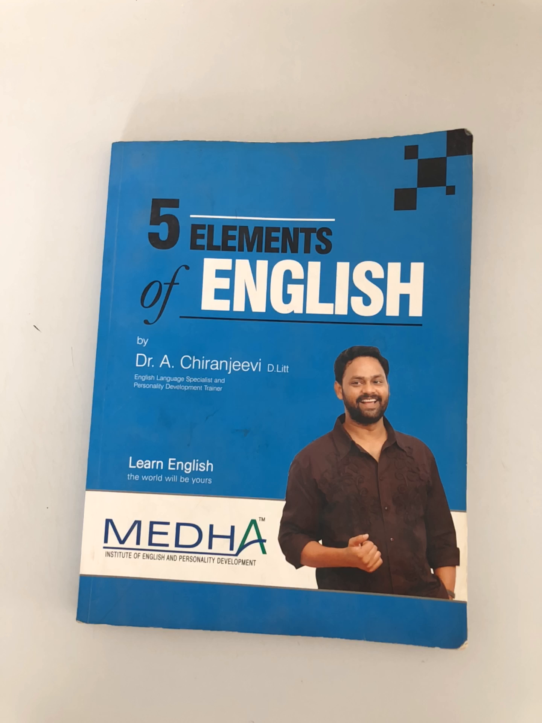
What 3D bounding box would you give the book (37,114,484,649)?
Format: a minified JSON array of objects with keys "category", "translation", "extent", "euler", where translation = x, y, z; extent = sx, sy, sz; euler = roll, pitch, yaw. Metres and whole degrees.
[{"category":"book","translation":[-0.003,0.002,0.262],"extent":[0.180,0.020,0.220],"euler":[1,84,4]}]
